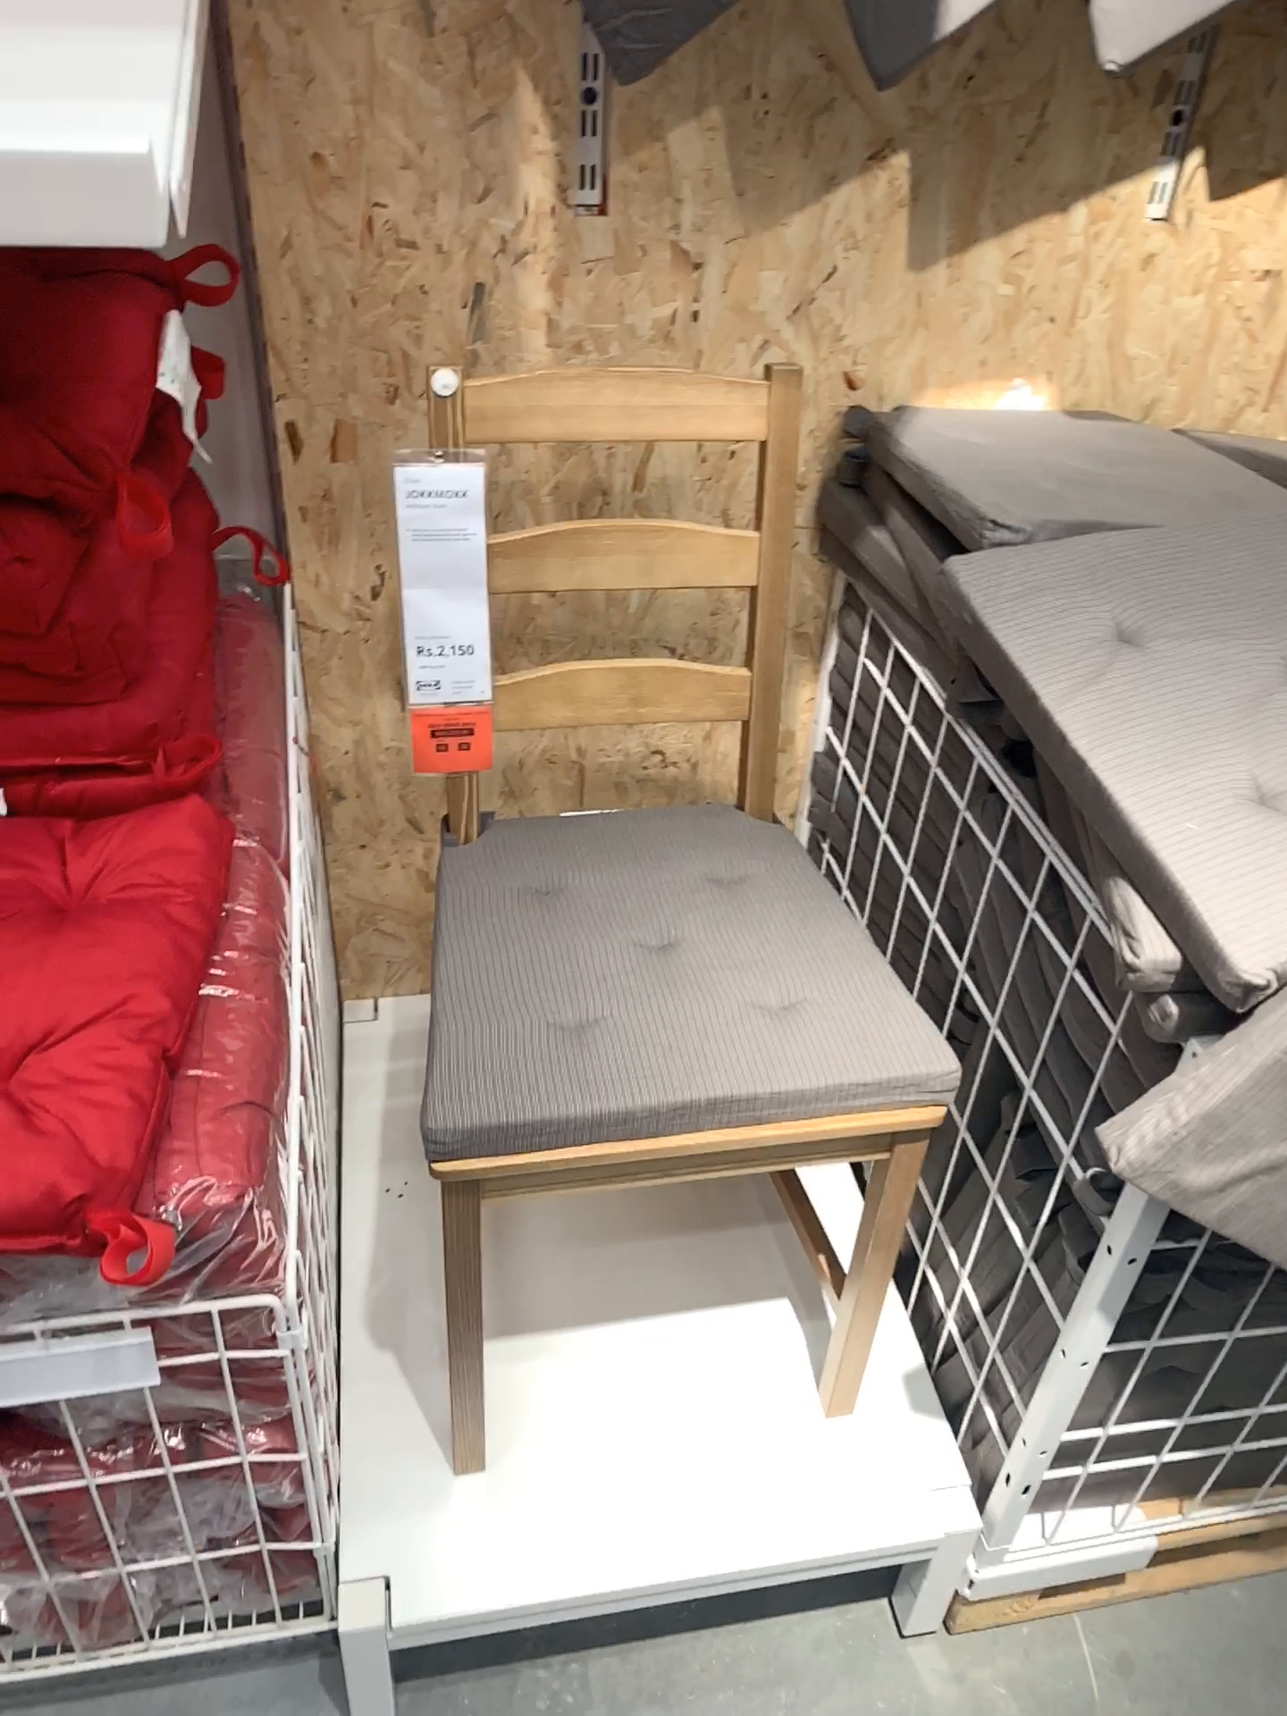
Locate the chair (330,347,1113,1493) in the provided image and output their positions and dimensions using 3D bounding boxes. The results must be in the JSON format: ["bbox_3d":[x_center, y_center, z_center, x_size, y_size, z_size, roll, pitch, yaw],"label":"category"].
[{"bbox_3d":[-0.015,0.065,1.168,0.440,0.866,0.502,-4,37,-11],"label":"chair"}]
